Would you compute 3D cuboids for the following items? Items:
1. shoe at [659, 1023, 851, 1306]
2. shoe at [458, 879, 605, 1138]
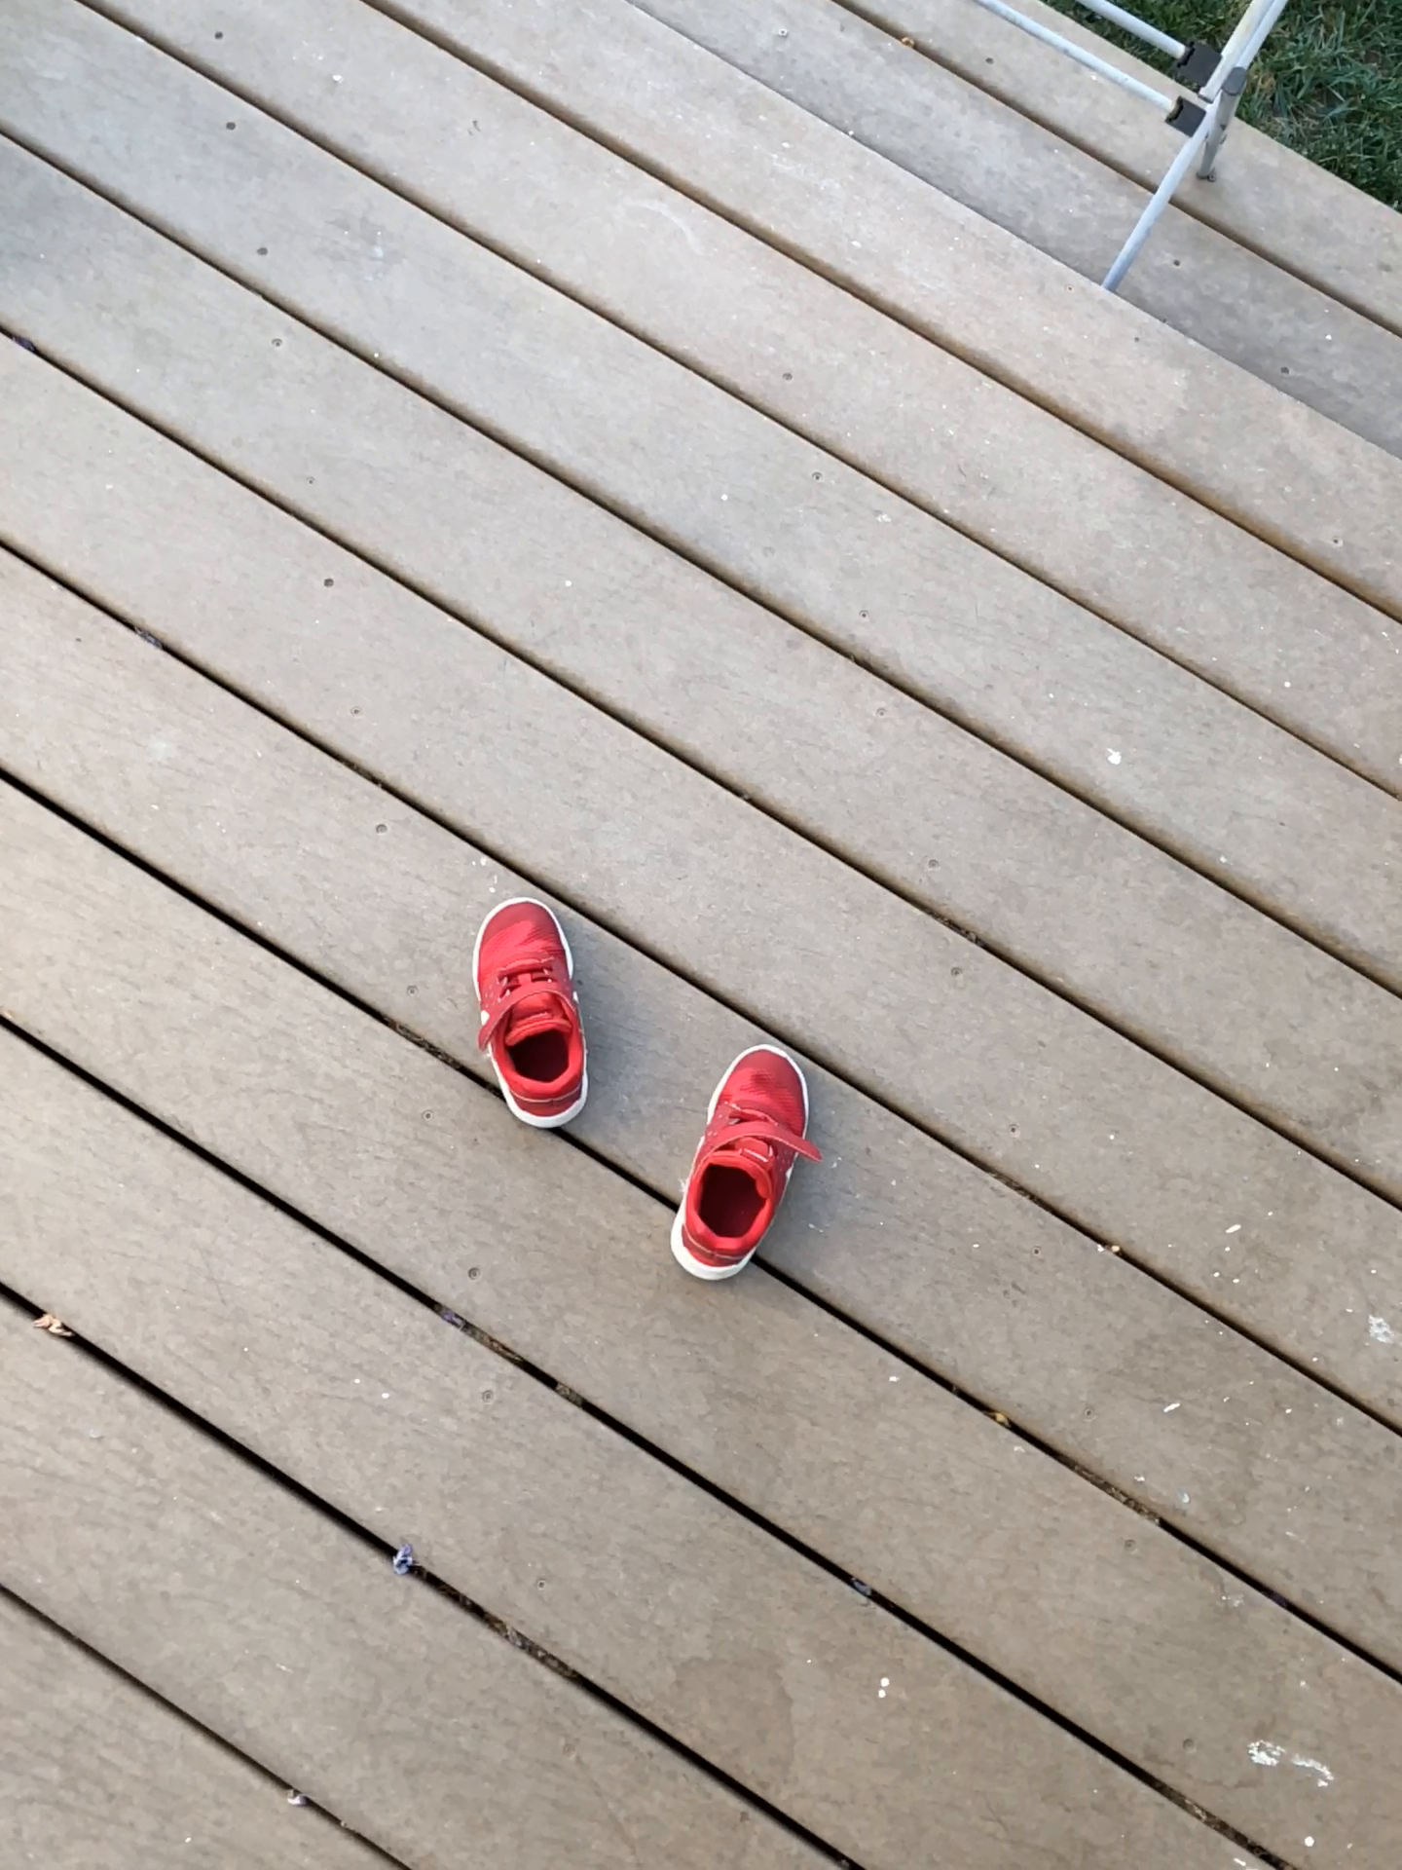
[{"bbox_3d":[0.035,0.153,1.017,0.069,0.069,0.164,20,73,0],"label":"shoe"},{"bbox_3d":[-0.115,0.050,1.034,0.073,0.069,0.153,-9,75,-9],"label":"shoe"}]
